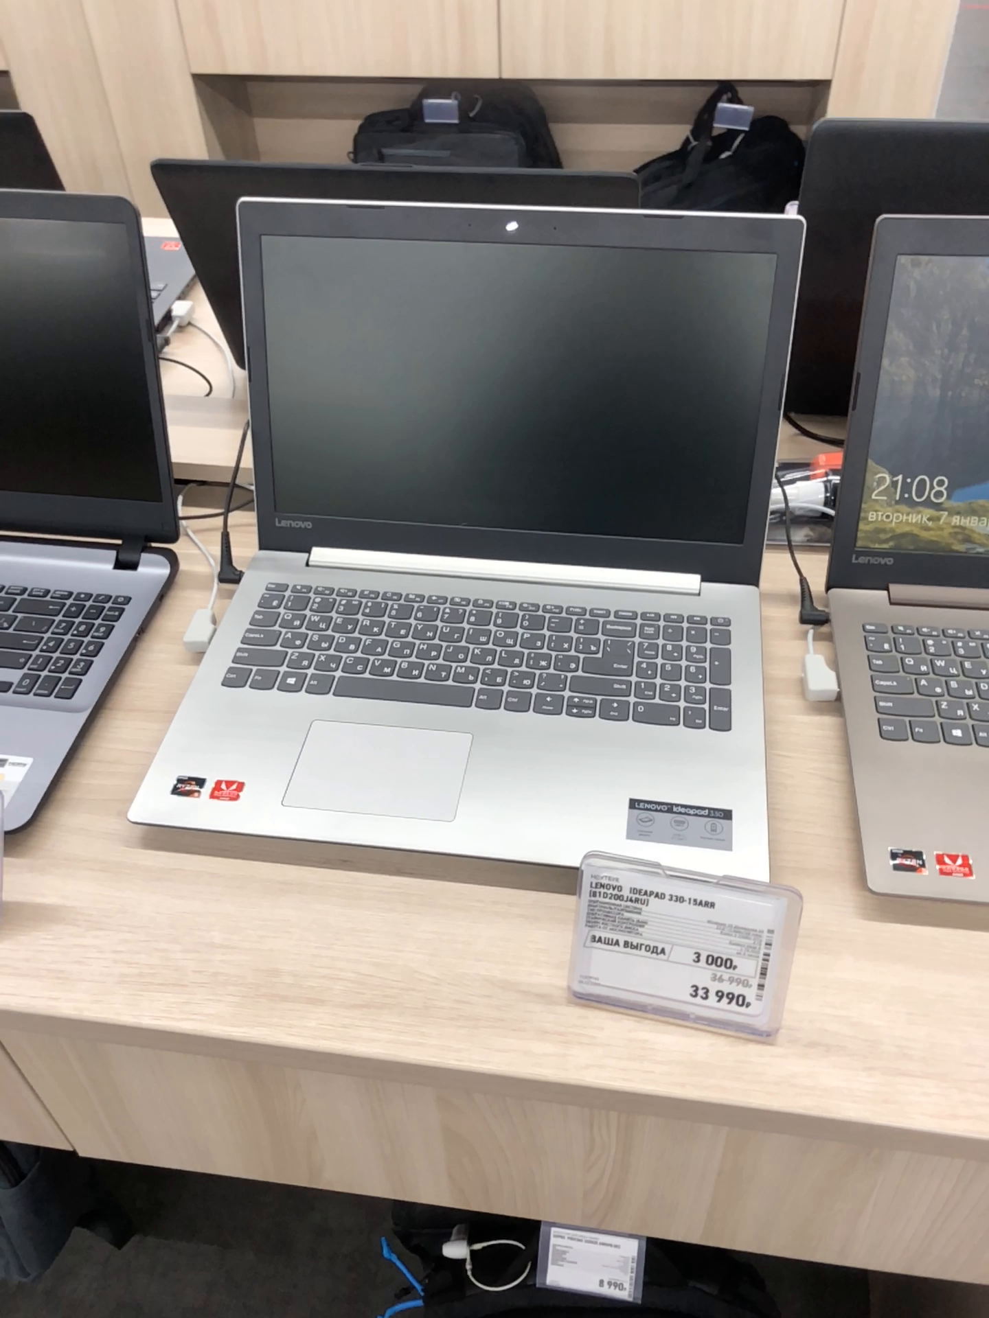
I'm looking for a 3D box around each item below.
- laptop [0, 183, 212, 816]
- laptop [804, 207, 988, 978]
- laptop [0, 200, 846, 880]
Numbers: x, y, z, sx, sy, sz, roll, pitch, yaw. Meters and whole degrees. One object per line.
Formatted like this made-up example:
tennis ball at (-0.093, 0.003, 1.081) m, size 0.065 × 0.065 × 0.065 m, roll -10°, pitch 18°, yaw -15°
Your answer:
laptop at (-0.420, -0.115, 0.680) m, size 0.326 × 0.232 × 0.320 m, roll 6°, pitch 44°, yaw 8°
laptop at (0.399, -0.060, 0.595) m, size 0.357 × 0.222 × 0.328 m, roll 3°, pitch 45°, yaw 6°
laptop at (-0.011, -0.092, 0.650) m, size 0.365 × 0.220 × 0.337 m, roll 5°, pitch 45°, yaw 7°
